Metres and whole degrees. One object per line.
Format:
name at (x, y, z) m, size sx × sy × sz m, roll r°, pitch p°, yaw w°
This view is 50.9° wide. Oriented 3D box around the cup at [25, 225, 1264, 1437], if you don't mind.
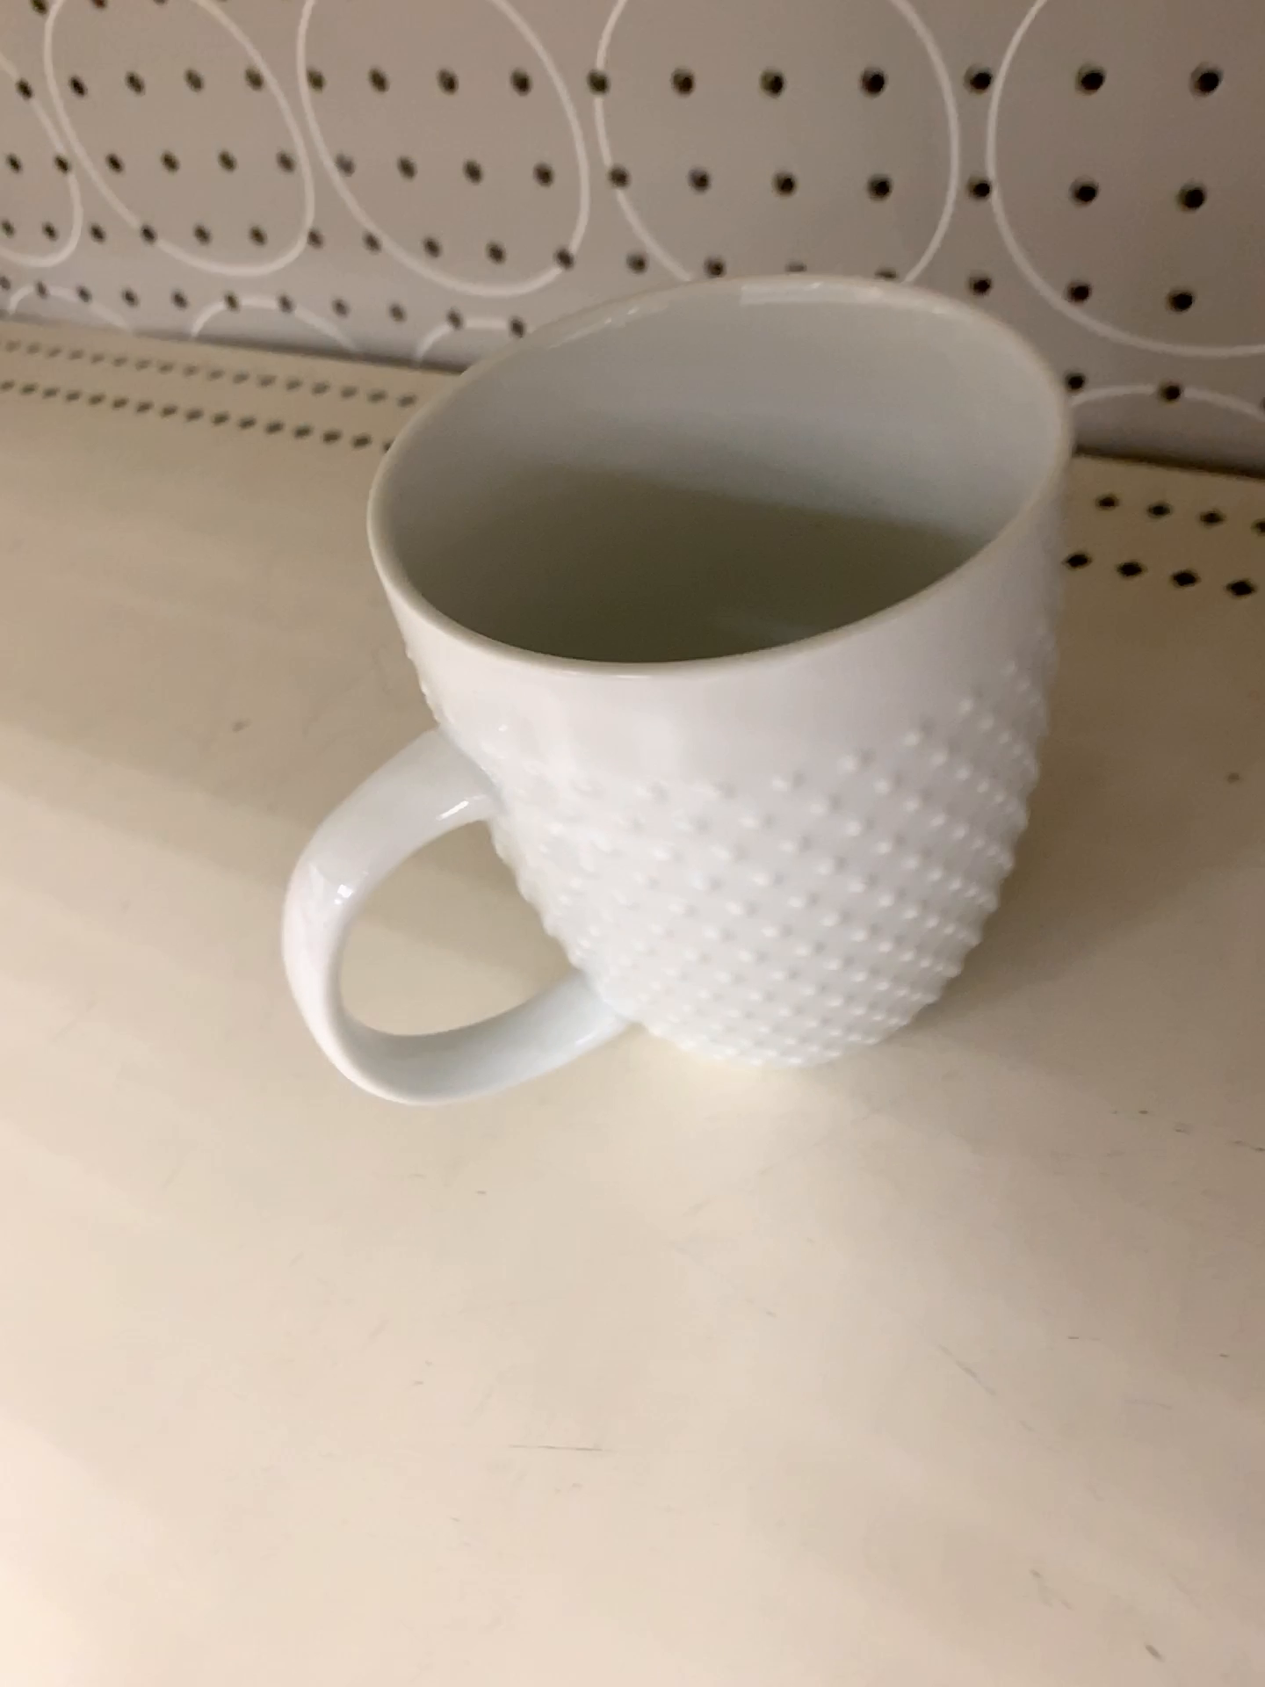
cup at (0.008, -0.006, 0.212) m, size 0.137 × 0.105 × 0.094 m, roll -36°, pitch 51°, yaw -16°
